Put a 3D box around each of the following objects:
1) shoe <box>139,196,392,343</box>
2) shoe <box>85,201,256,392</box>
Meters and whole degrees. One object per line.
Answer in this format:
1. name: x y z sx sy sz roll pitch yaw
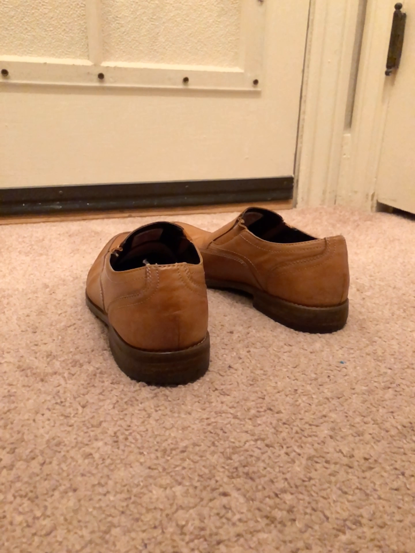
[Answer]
1. shoe: 0.043 -0.030 0.545 0.107 0.089 0.311 -13 22 -34
2. shoe: -0.062 -0.010 0.475 0.100 0.090 0.321 -5 18 -17
